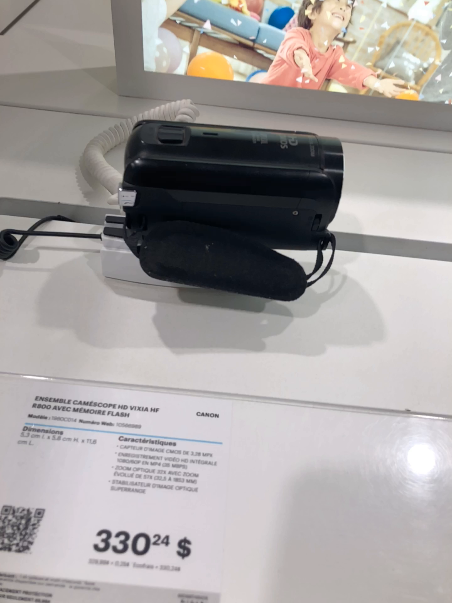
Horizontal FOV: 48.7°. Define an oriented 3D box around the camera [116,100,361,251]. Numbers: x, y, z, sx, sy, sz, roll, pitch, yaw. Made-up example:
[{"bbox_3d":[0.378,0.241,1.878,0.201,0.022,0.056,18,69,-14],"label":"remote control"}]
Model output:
[{"bbox_3d":[0.004,-0.066,0.264,0.113,0.050,0.050,4,46,-3],"label":"camera"}]
